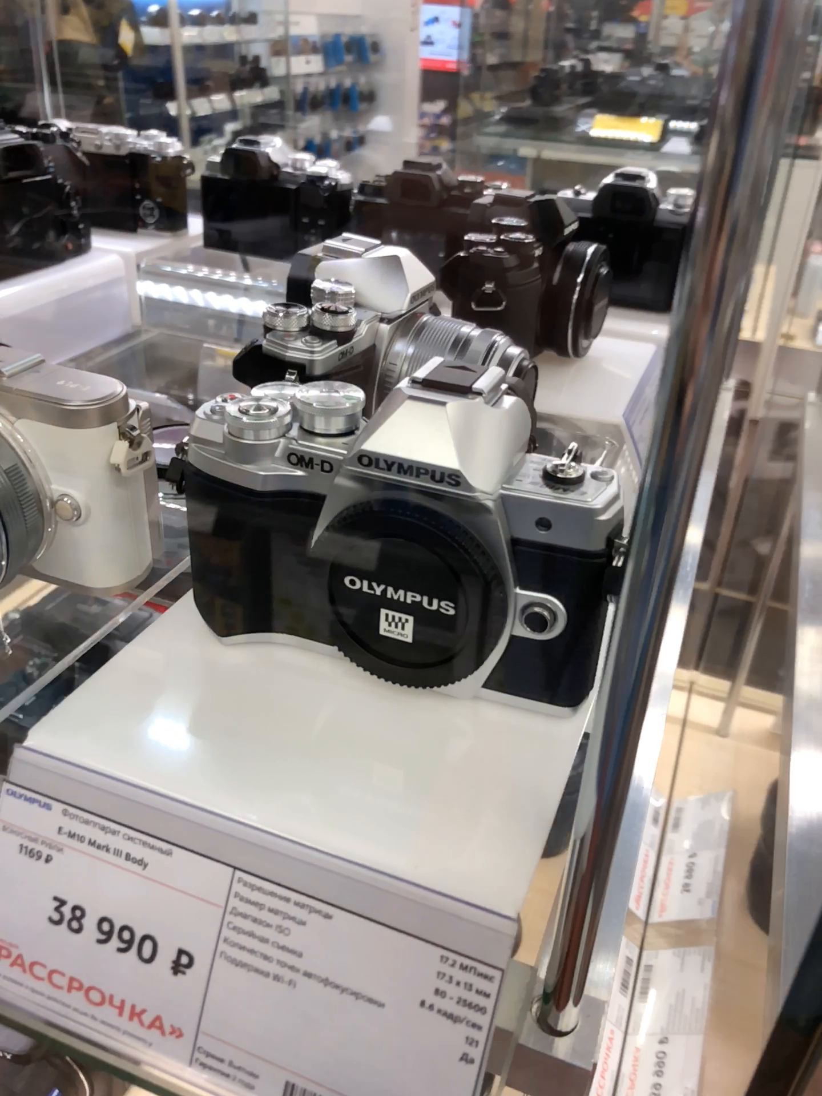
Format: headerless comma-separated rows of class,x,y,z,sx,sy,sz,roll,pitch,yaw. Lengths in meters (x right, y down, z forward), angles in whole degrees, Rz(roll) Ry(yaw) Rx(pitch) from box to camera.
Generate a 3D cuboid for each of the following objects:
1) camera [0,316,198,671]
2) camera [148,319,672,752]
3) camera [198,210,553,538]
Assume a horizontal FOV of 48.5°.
camera,-0.143,-0.023,0.294,0.124,0.068,0.068,14,32,18
camera,0.001,-0.009,0.256,0.121,0.077,0.065,13,31,17
camera,-0.007,-0.082,0.384,0.101,0.084,0.137,11,31,14
